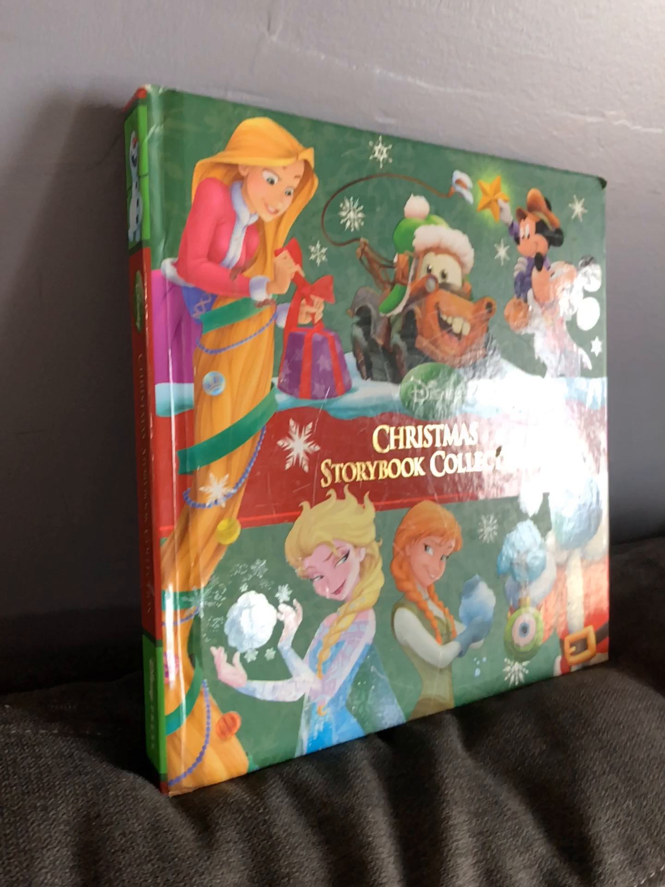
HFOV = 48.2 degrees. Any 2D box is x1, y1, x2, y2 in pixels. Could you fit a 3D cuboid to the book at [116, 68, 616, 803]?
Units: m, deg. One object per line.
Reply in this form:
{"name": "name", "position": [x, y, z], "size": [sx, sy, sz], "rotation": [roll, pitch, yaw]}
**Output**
{"name": "book", "position": [0.031, -0.006, 0.314], "size": [0.227, 0.238, 0.033], "rotation": [-4, 5, -32]}
